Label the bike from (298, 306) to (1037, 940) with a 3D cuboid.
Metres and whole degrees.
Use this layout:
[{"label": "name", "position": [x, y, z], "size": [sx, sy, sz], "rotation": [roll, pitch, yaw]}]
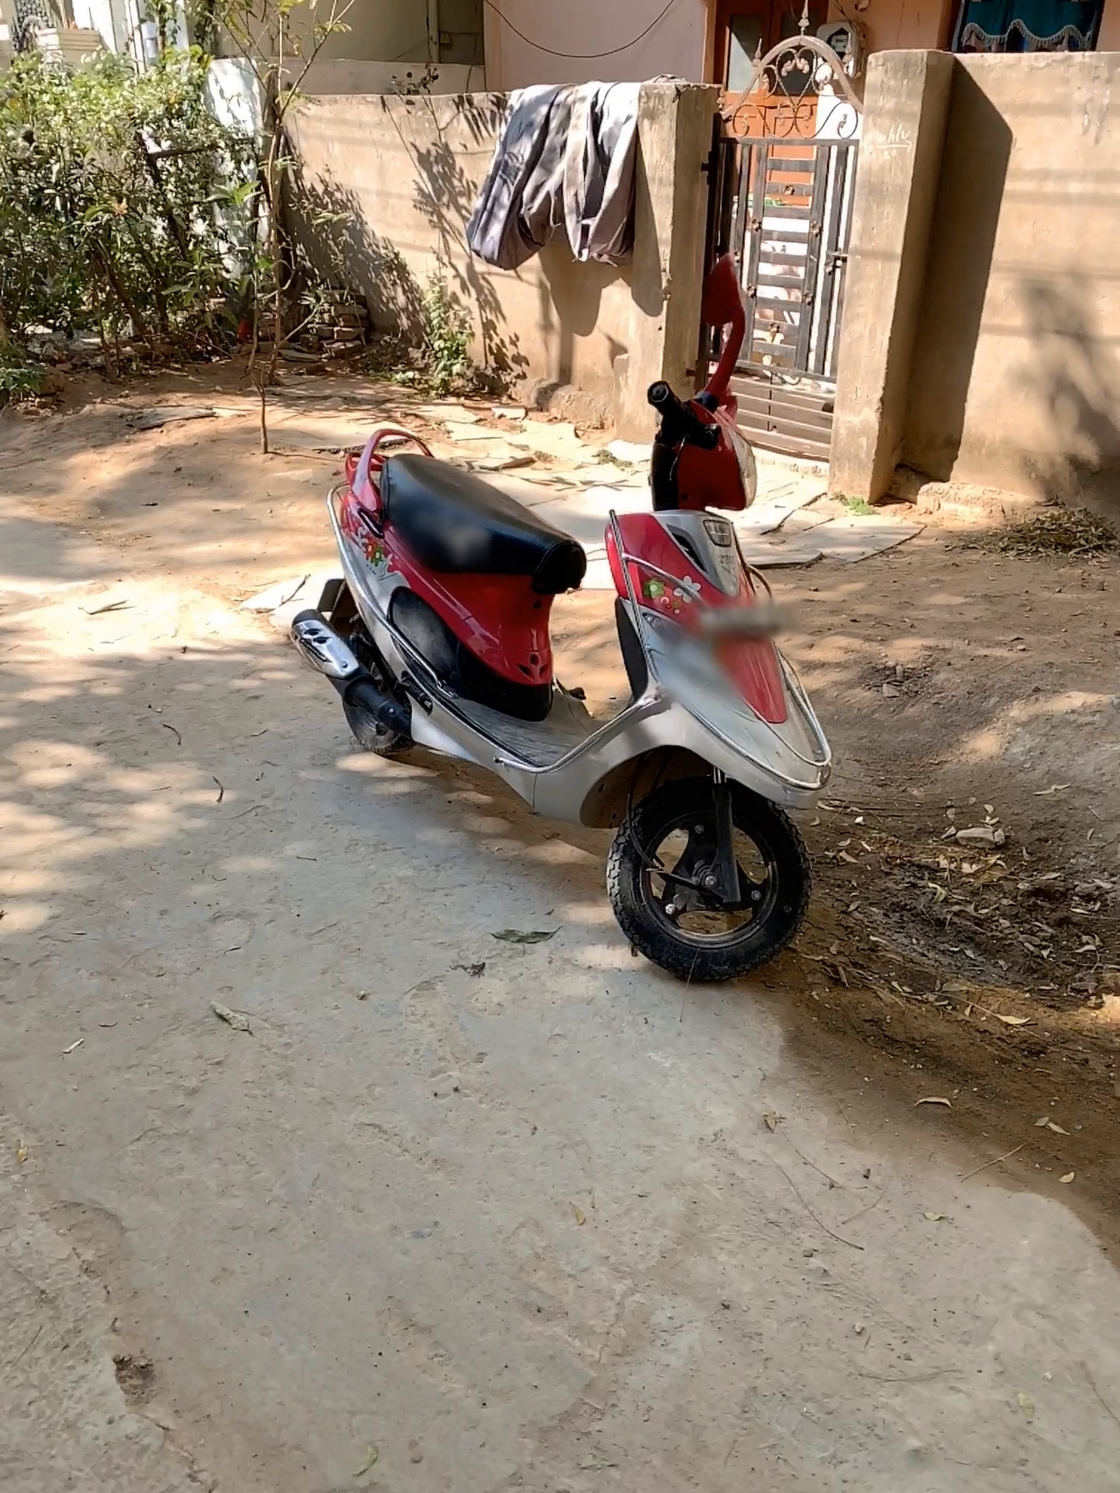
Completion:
[{"label": "bike", "position": [0.107, -0.381, 2.574], "size": [0.485, 1.037, 1.497], "rotation": [-25, 35, -39]}]
